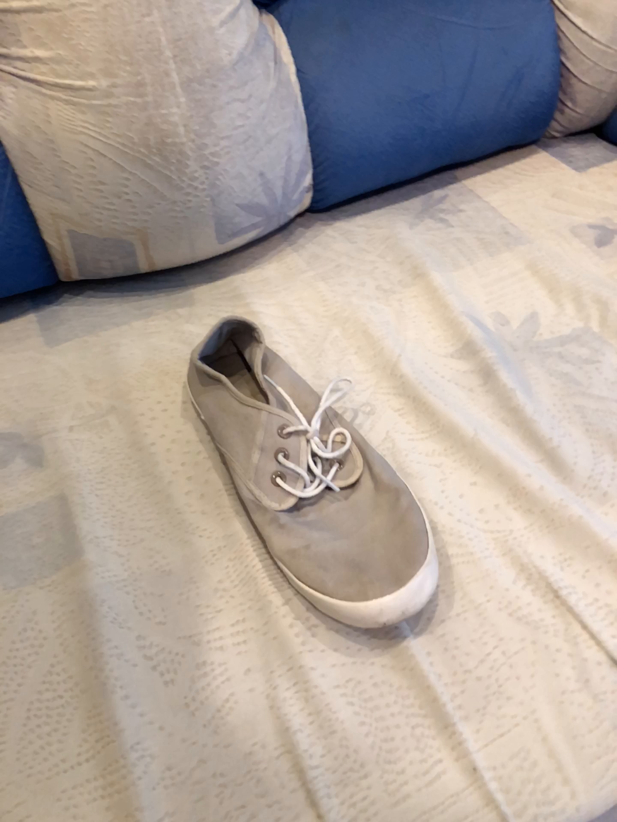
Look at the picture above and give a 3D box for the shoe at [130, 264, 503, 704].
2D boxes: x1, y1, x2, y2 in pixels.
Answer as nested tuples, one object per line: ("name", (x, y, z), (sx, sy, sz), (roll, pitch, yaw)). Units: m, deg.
("shoe", (-0.012, 0.024, 0.433), (0.110, 0.079, 0.271), (-22, 50, -17))
